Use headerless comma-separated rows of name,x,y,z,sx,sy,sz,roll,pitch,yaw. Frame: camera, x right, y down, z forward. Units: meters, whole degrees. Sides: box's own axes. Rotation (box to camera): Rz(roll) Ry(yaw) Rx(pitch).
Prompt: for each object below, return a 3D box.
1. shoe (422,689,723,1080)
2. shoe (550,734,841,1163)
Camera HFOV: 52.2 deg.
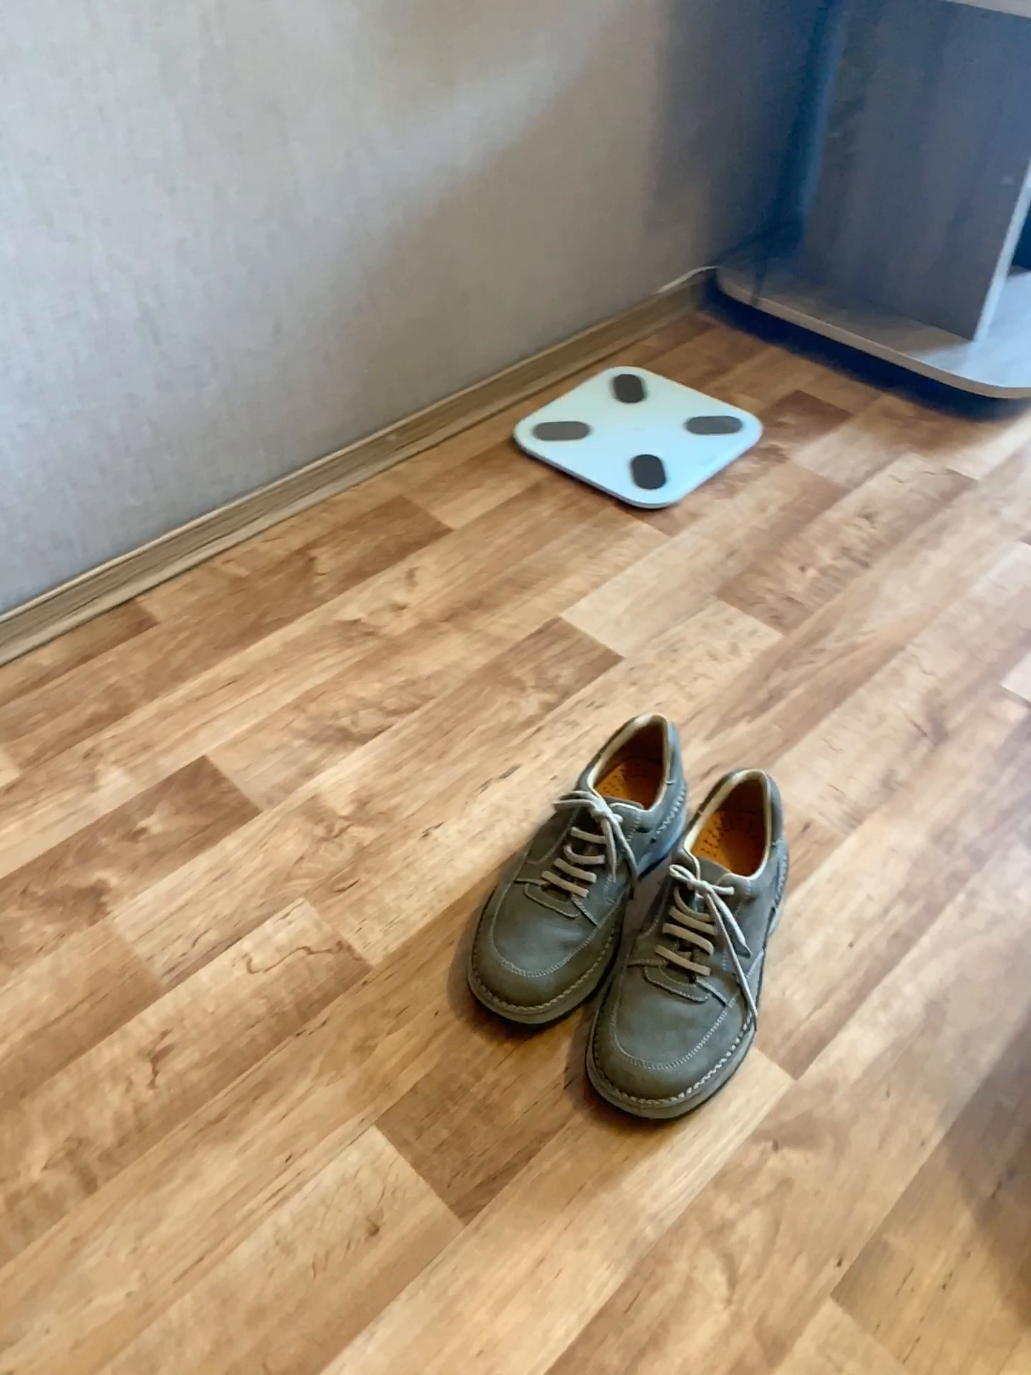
shoe,0.056,0.153,0.888,0.120,0.119,0.291,22,49,21
shoe,0.145,0.188,0.820,0.120,0.109,0.291,20,48,20
